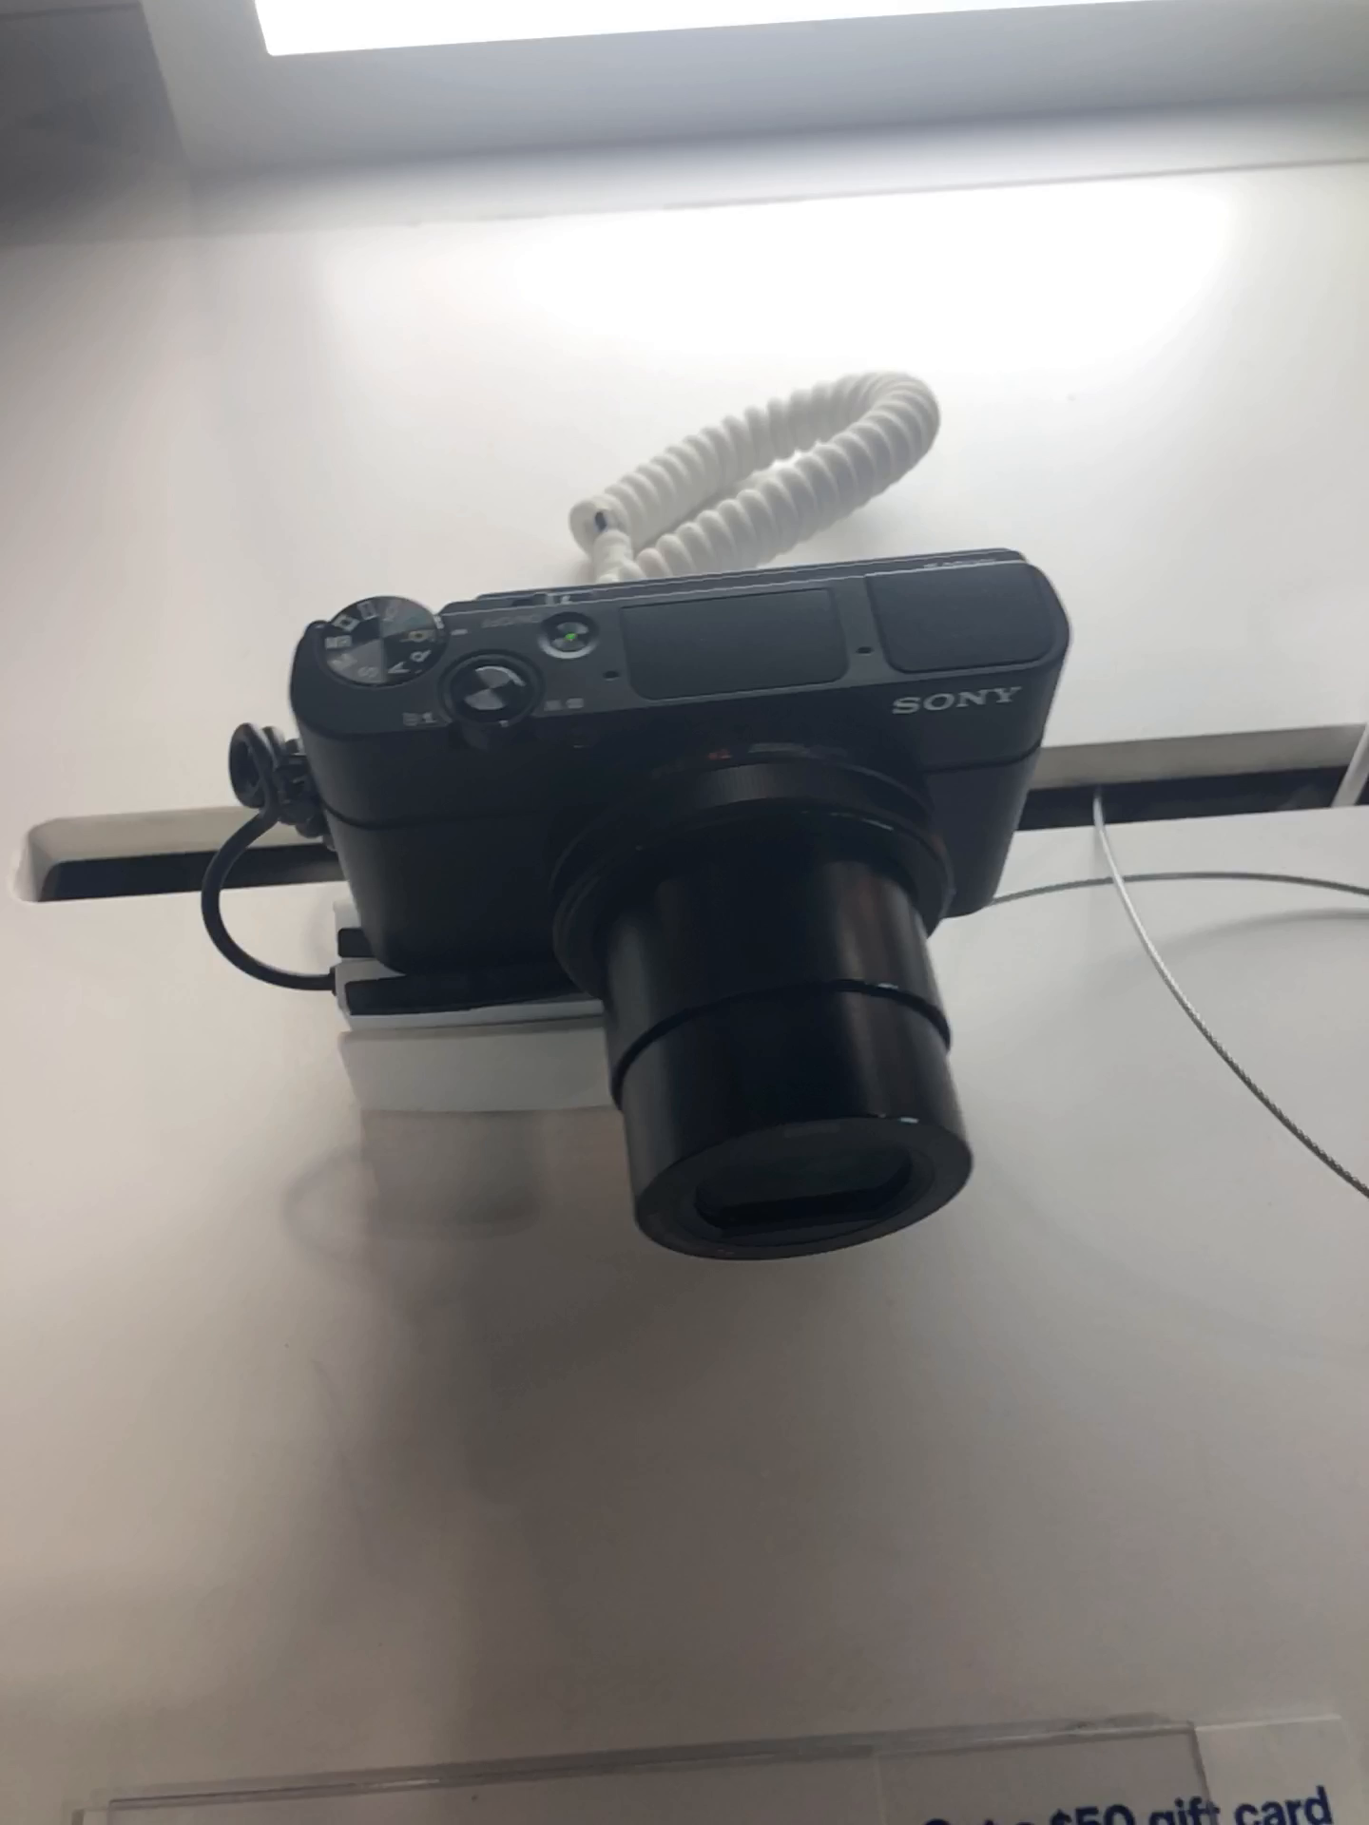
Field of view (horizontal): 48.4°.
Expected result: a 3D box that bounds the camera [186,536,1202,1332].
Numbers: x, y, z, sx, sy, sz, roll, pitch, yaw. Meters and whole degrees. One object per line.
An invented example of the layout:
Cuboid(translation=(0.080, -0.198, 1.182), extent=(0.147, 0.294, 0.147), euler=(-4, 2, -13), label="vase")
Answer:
Cuboid(translation=(0.000, 0.005, 0.207), extent=(0.105, 0.074, 0.070), euler=(-5, 53, -1), label="camera")
